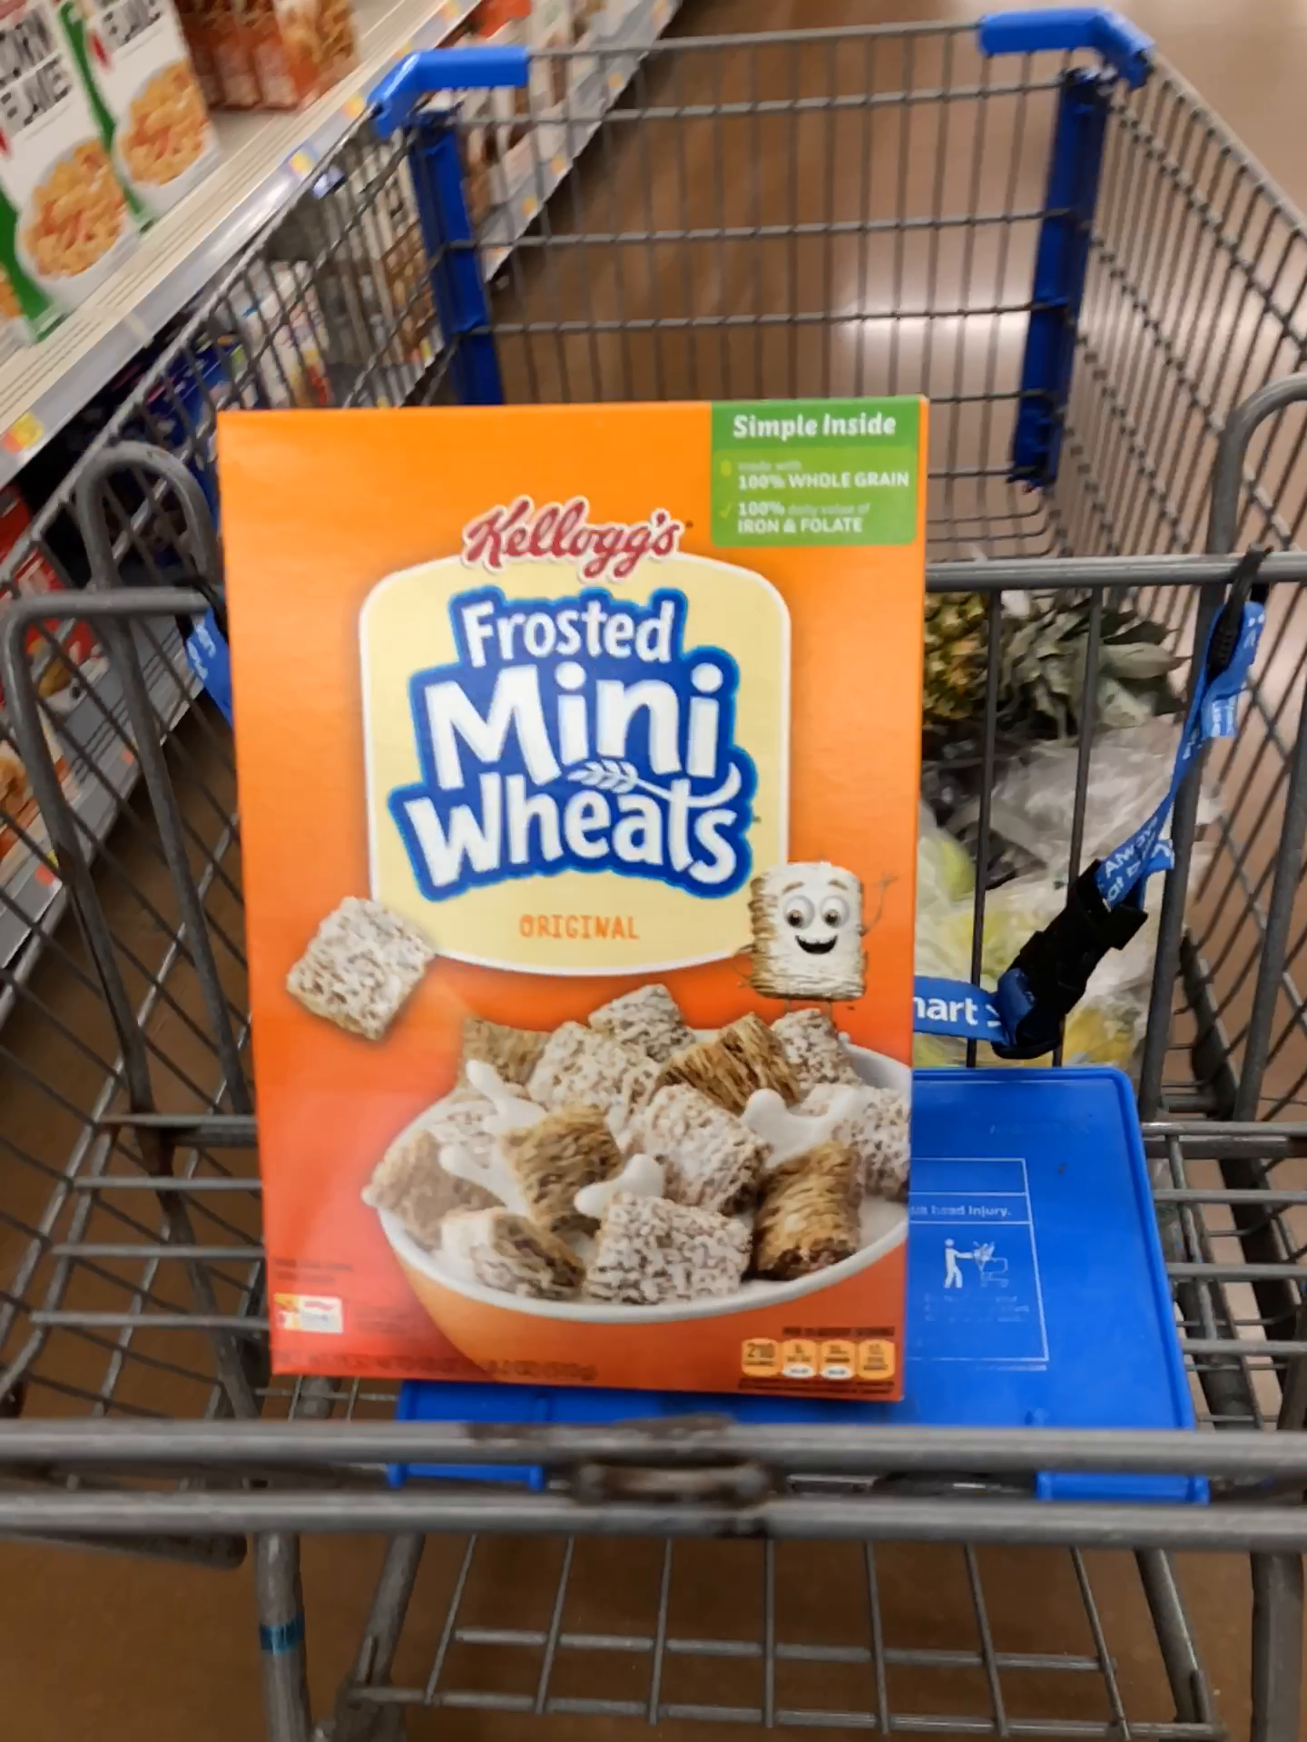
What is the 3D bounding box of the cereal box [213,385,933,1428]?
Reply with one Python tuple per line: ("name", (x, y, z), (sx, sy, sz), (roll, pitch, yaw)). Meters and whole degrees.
("cereal box", (-0.018, 0.013, 0.433), (0.190, 0.290, 0.070), (0, 9, 4))
